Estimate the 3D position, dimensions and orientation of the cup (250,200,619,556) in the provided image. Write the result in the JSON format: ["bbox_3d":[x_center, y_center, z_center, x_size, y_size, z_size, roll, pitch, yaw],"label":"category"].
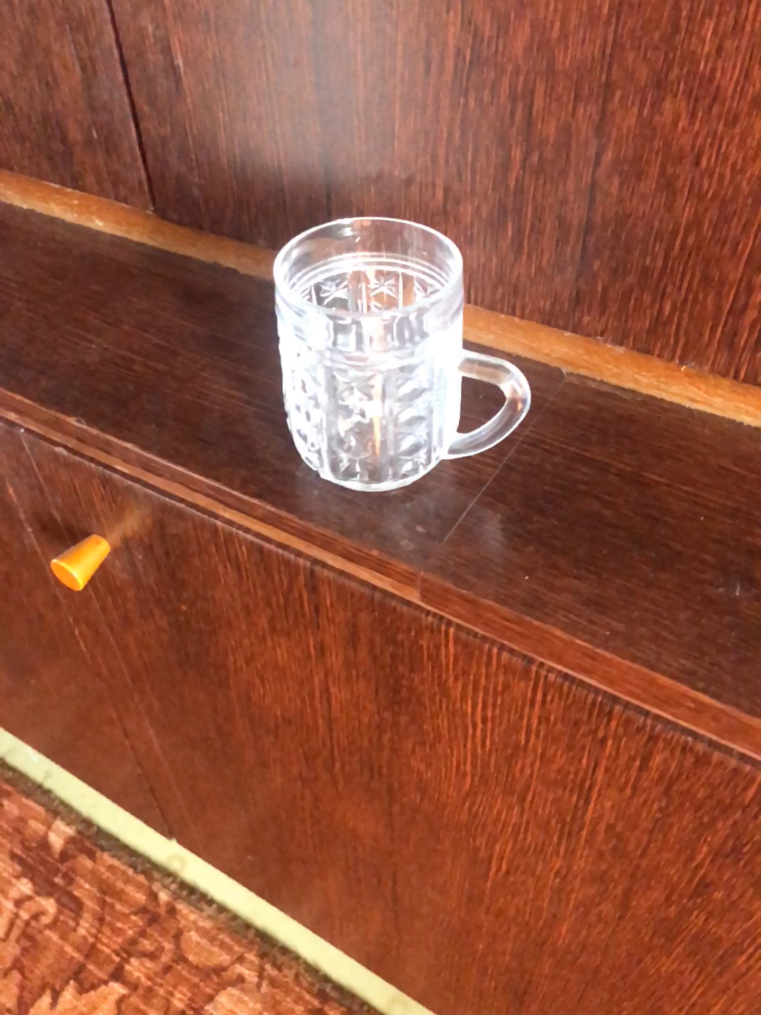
[{"bbox_3d":[0.020,-0.046,0.294,0.100,0.080,0.070,13,47,14],"label":"cup"}]
